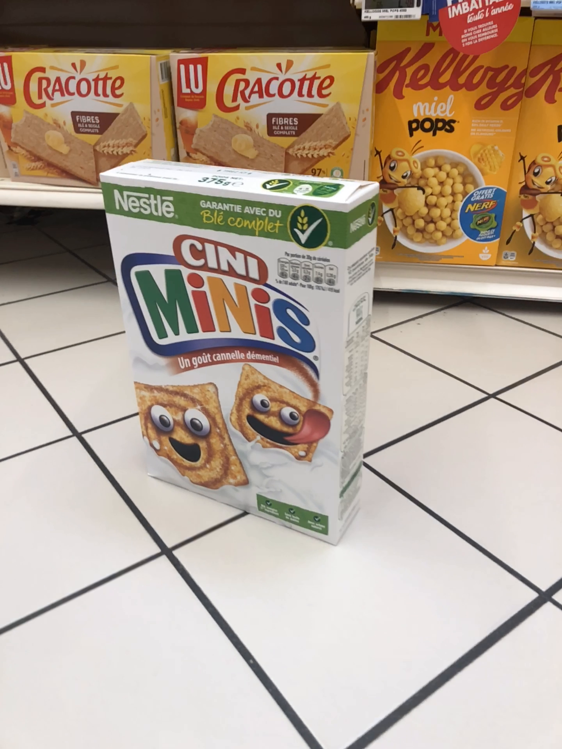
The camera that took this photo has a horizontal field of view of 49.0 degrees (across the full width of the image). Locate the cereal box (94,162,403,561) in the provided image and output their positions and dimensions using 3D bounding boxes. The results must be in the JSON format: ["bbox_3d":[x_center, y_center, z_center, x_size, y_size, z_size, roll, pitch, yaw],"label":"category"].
[{"bbox_3d":[-0.024,-0.012,0.478,0.200,0.269,0.070,13,31,24],"label":"cereal box"}]
